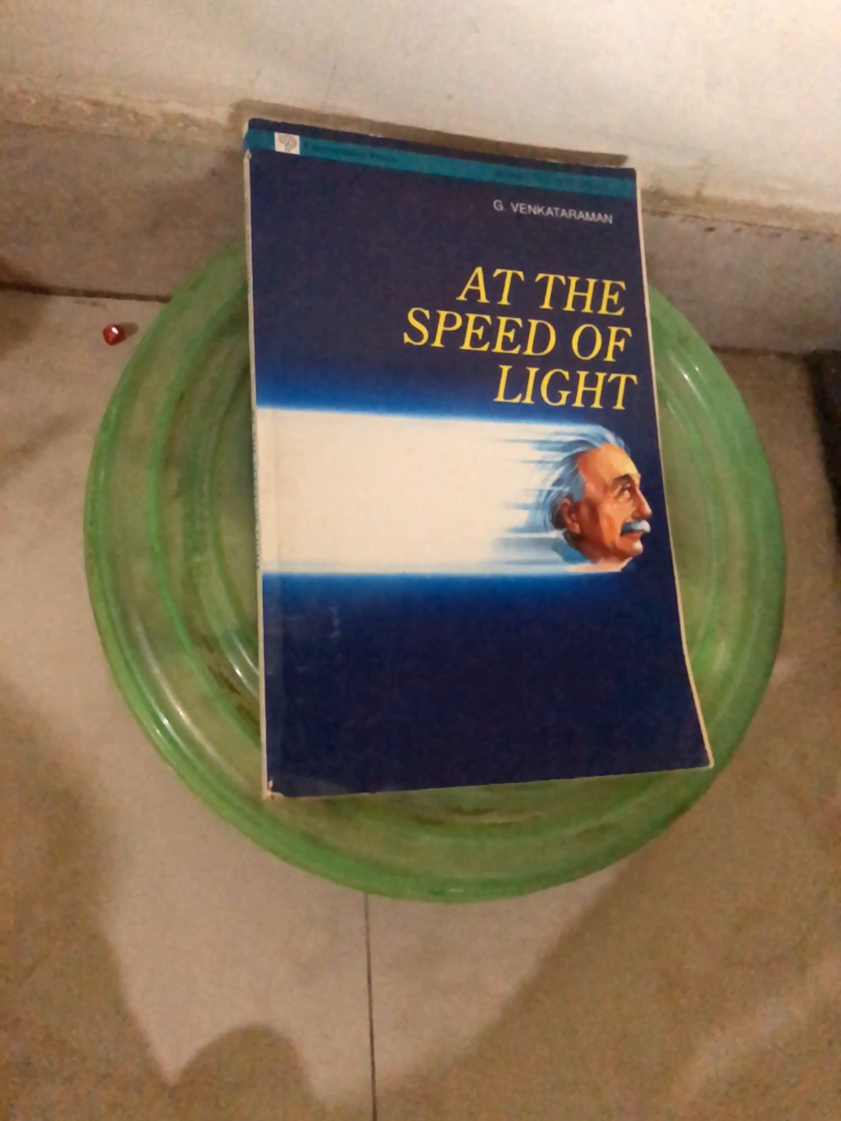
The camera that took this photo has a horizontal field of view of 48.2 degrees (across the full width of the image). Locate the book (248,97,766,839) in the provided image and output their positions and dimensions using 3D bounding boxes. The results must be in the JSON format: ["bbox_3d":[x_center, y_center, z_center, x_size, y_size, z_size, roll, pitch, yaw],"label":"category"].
[{"bbox_3d":[0.024,-0.035,0.306,0.150,0.020,0.230,0,75,-17],"label":"book"}]
